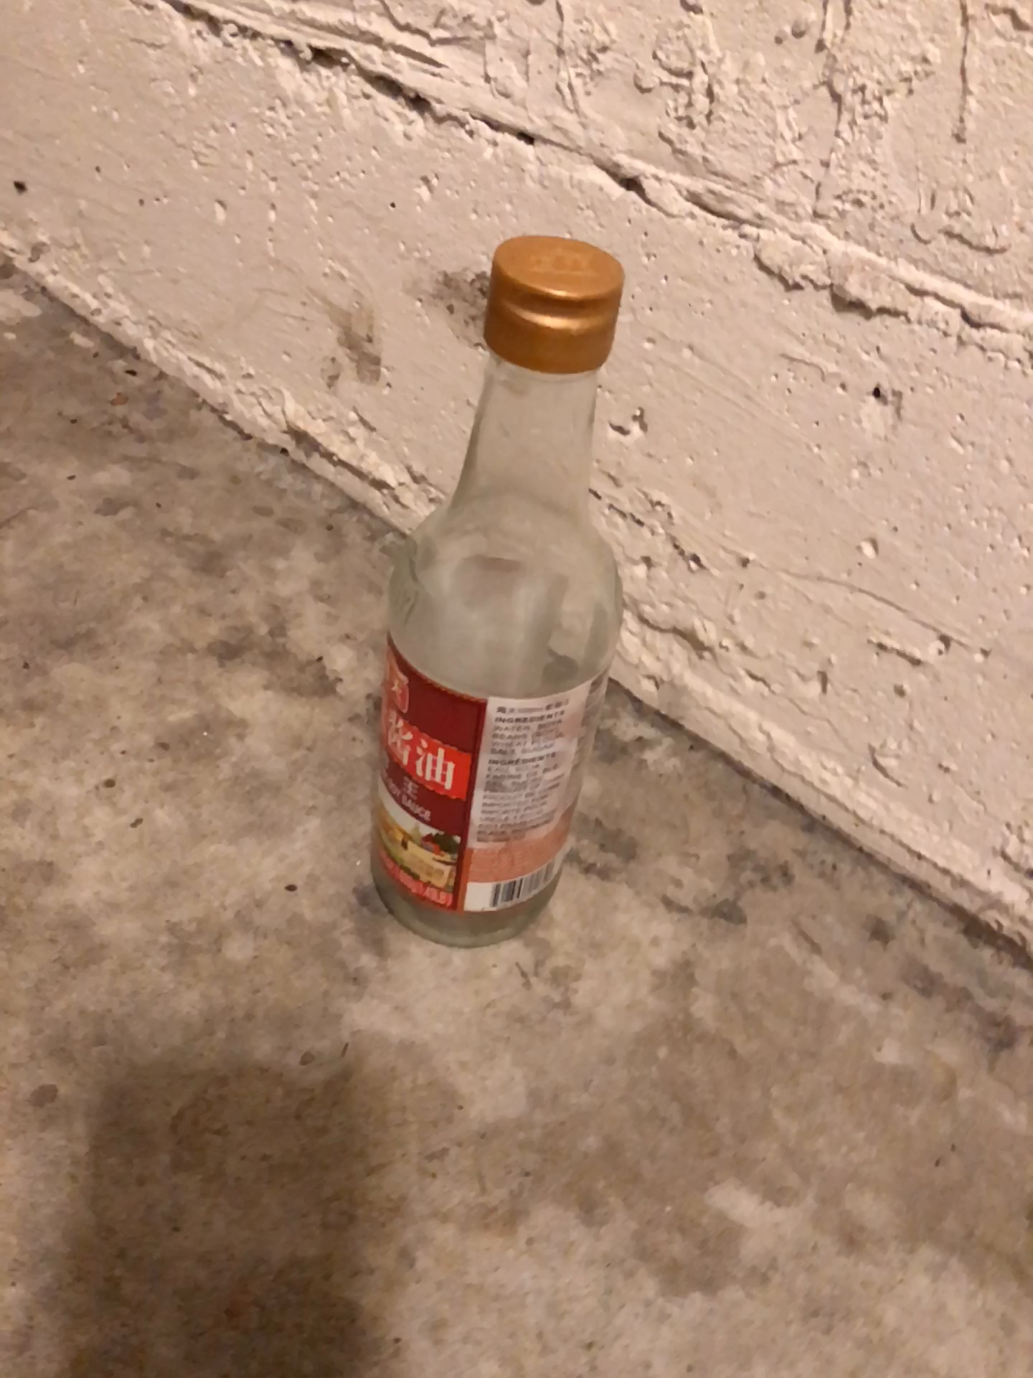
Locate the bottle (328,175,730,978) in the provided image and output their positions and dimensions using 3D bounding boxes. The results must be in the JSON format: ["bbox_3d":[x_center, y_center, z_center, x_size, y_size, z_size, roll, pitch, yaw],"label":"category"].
[{"bbox_3d":[-0.011,-0.018,0.333,0.070,0.228,0.070,4,42,-4],"label":"bottle"}]
